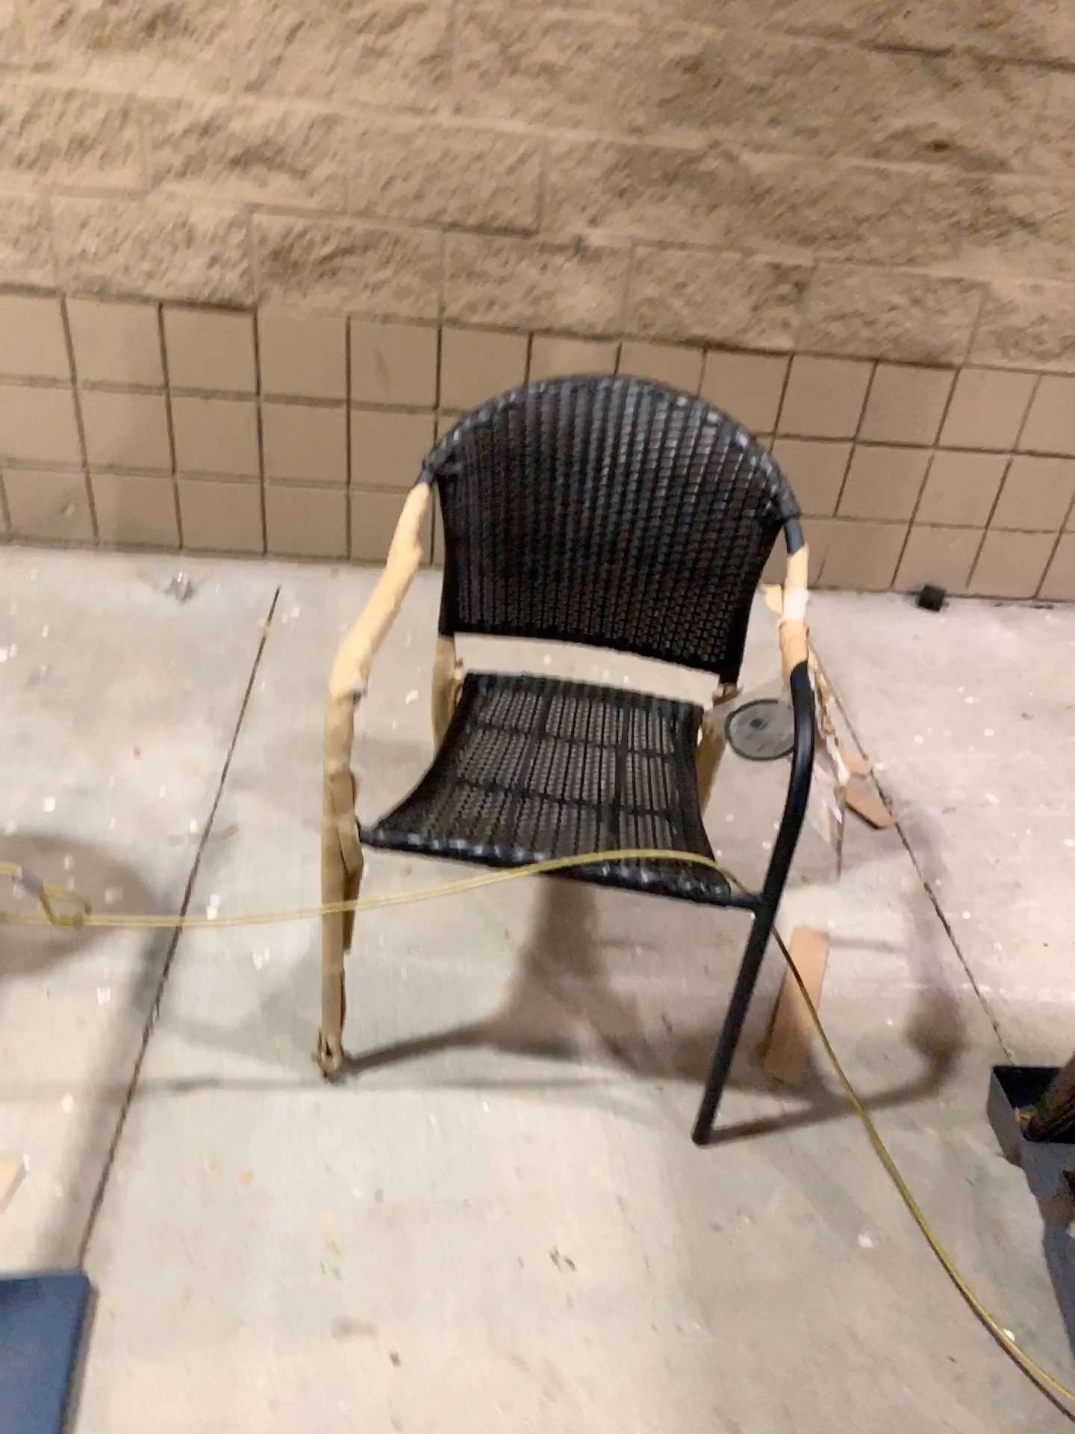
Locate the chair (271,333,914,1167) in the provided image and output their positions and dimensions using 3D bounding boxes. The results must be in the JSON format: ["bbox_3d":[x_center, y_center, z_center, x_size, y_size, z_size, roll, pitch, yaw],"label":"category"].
[{"bbox_3d":[0.039,0.035,1.458,0.575,0.840,0.600,8,34,2],"label":"chair"}]
